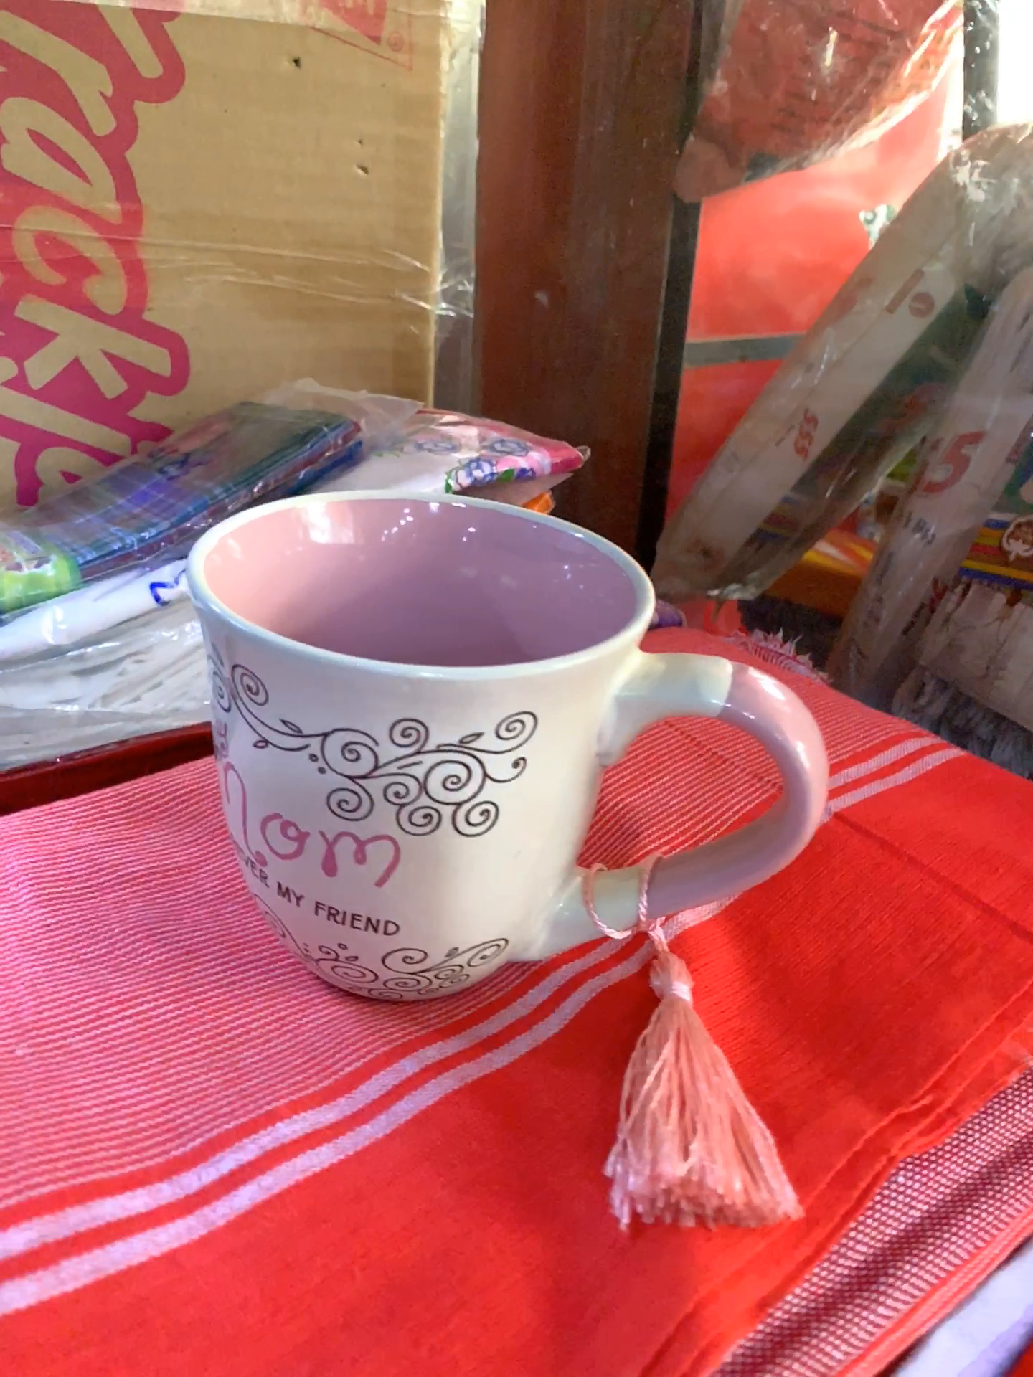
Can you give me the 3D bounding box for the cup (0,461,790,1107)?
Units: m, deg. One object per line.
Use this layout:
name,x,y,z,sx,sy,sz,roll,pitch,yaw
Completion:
cup,-0.016,0.010,0.214,0.125,0.075,0.086,8,29,11
